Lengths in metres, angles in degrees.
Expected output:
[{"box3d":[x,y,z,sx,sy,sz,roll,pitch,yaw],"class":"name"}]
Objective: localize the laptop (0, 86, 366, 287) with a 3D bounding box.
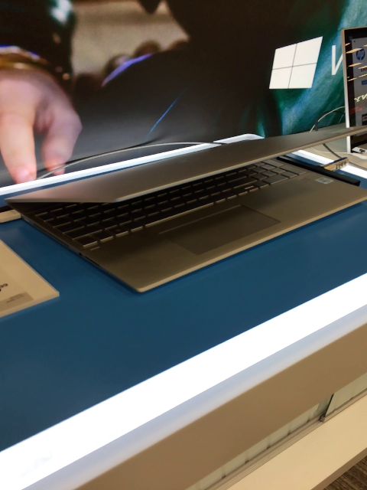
[{"box3d":[0.016,-0.100,0.594,0.351,0.104,0.252,-23,40,-32],"class":"laptop"}]
